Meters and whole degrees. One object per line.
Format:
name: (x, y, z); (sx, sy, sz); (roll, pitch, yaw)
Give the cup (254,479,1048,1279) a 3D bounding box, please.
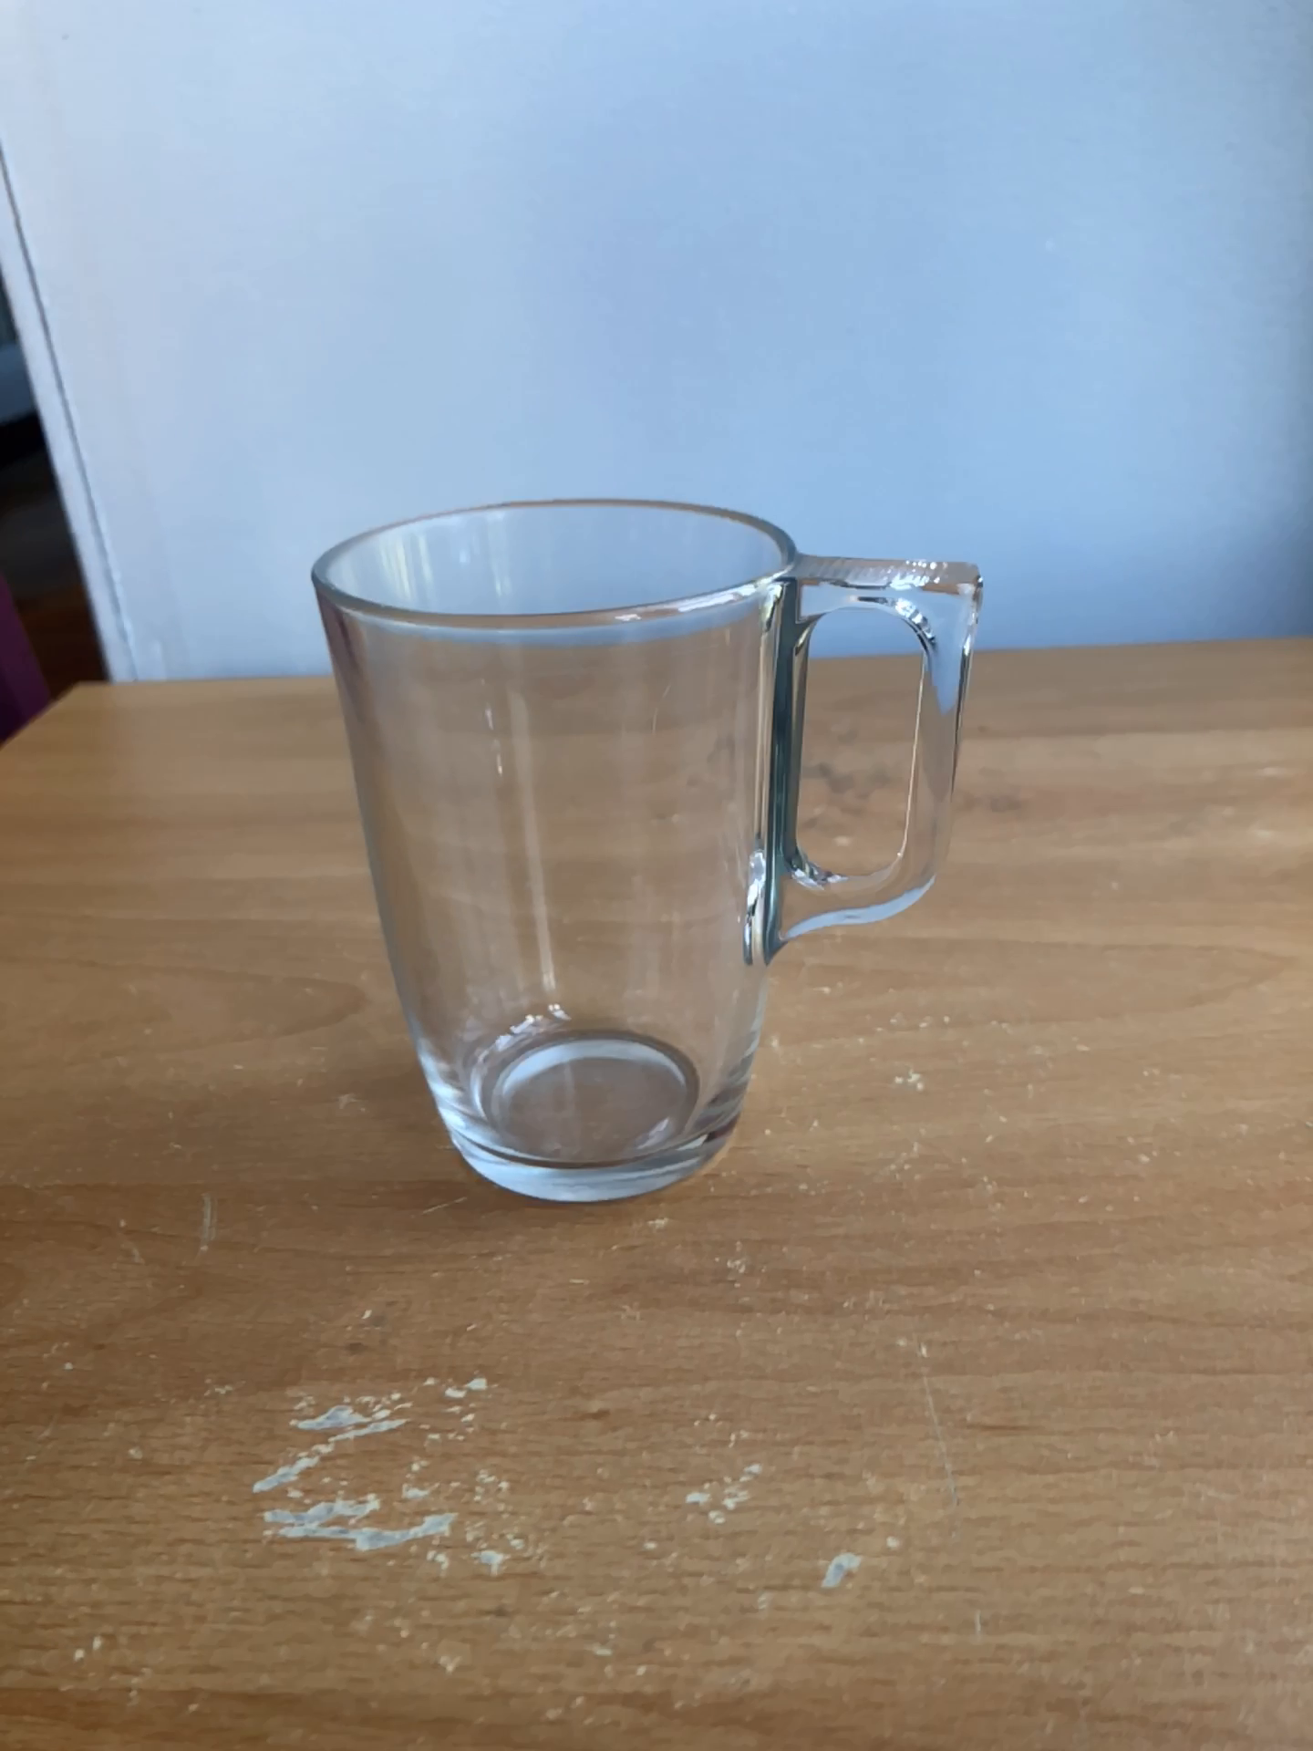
cup: (0.007, -0.007, 0.249); (0.103, 0.103, 0.078); (5, 27, 20)
